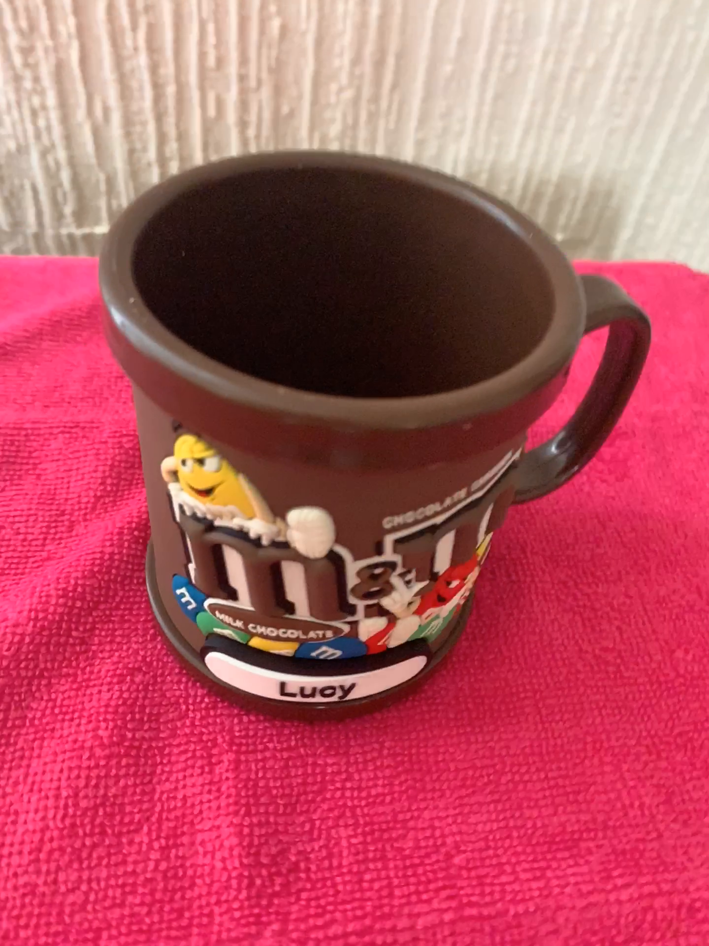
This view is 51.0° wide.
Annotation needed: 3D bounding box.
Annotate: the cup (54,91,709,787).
[{"bbox_3d":[0.011,-0.013,0.167,0.120,0.099,0.091,-13,50,-20],"label":"cup"}]
